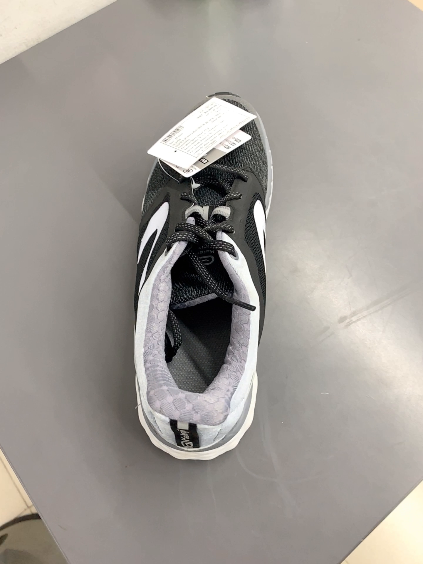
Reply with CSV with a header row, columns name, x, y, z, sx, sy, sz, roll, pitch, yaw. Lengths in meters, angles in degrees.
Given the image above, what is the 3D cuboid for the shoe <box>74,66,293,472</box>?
name,x,y,z,sx,sy,sz,roll,pitch,yaw
shoe,-0.008,-0.012,0.284,0.100,0.090,0.240,2,69,1
